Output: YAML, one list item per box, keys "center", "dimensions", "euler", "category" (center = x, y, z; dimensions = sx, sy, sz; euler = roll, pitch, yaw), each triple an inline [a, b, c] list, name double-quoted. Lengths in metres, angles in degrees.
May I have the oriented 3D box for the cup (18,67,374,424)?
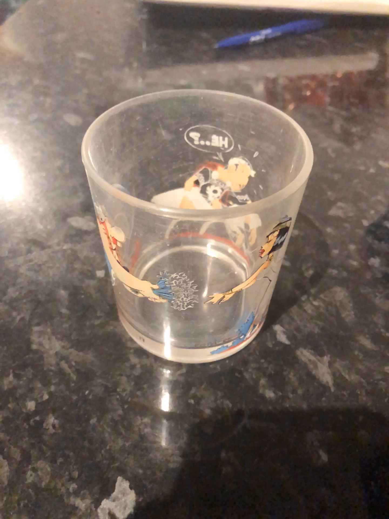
- center: [-0.003, -0.010, 0.165]
  dimensions: [0.080, 0.080, 0.080]
  euler: [1, 46, -1]
  category: "cup"
